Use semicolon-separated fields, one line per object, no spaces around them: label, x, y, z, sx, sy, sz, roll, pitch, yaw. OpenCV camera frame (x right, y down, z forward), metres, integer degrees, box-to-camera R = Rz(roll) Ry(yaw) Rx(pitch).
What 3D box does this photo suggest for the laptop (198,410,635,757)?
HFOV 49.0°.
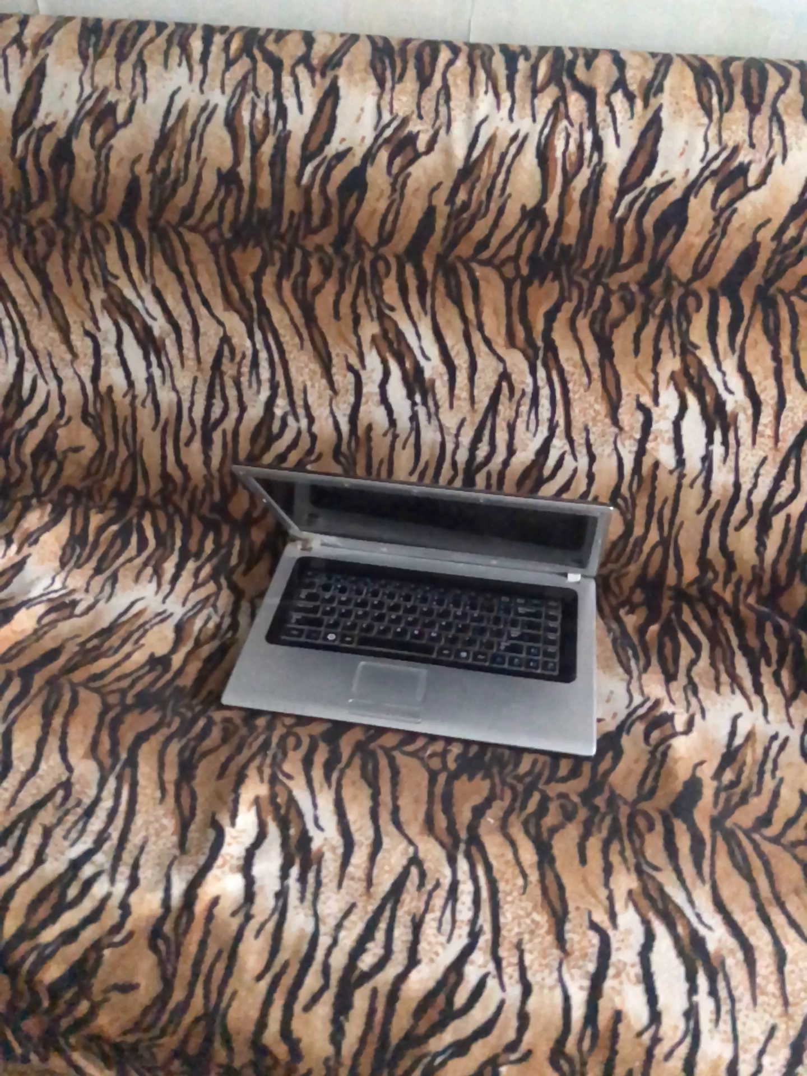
laptop;0.022;0.033;0.851;0.350;0.179;0.239;7;41;7
